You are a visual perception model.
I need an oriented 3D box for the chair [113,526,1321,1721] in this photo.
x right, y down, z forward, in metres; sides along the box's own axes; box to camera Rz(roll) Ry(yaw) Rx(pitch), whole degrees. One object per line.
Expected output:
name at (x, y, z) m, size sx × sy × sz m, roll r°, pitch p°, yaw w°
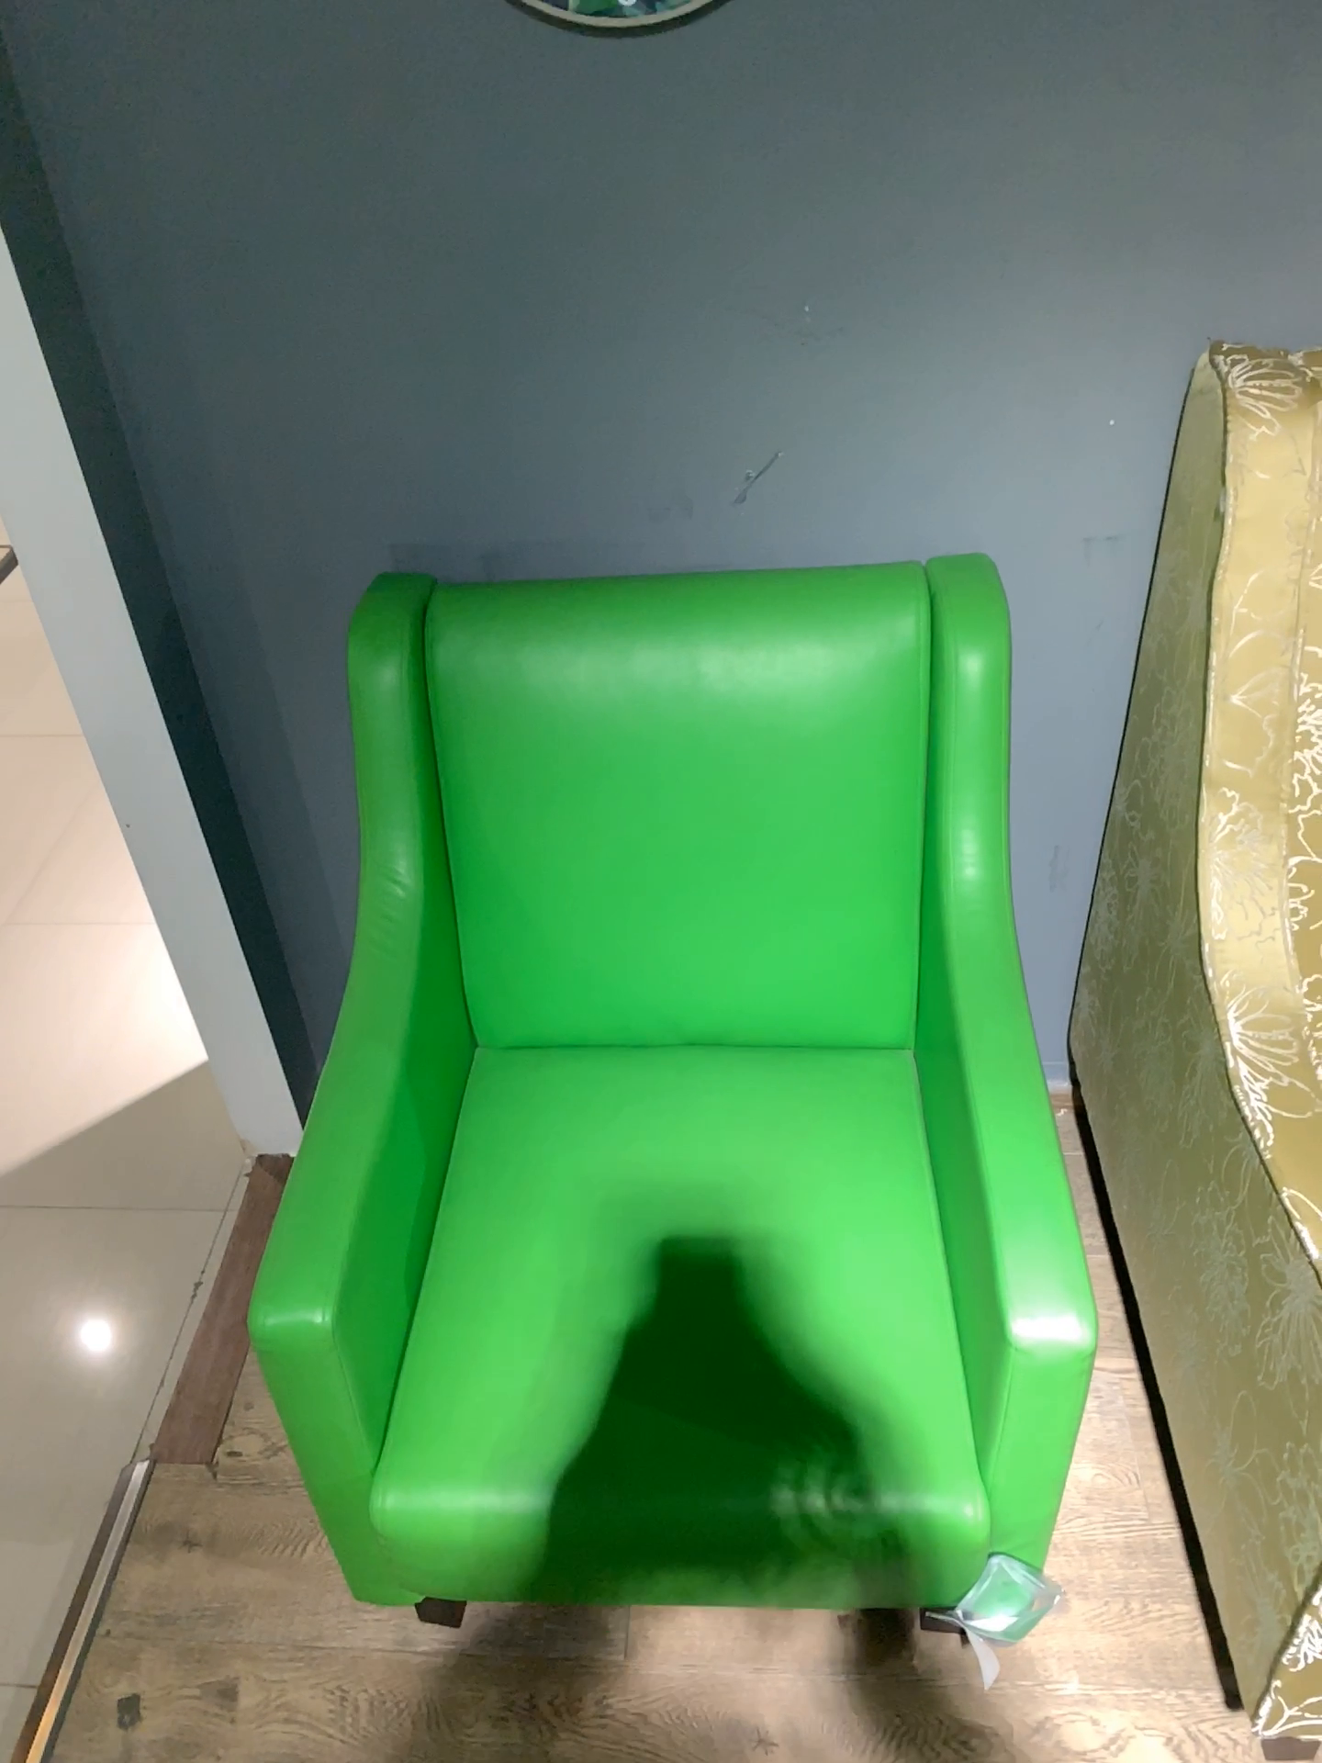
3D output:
chair at (0.078, 0.203, 1.317) m, size 0.710 × 0.787 × 0.813 m, roll 0°, pitch 39°, yaw 4°
